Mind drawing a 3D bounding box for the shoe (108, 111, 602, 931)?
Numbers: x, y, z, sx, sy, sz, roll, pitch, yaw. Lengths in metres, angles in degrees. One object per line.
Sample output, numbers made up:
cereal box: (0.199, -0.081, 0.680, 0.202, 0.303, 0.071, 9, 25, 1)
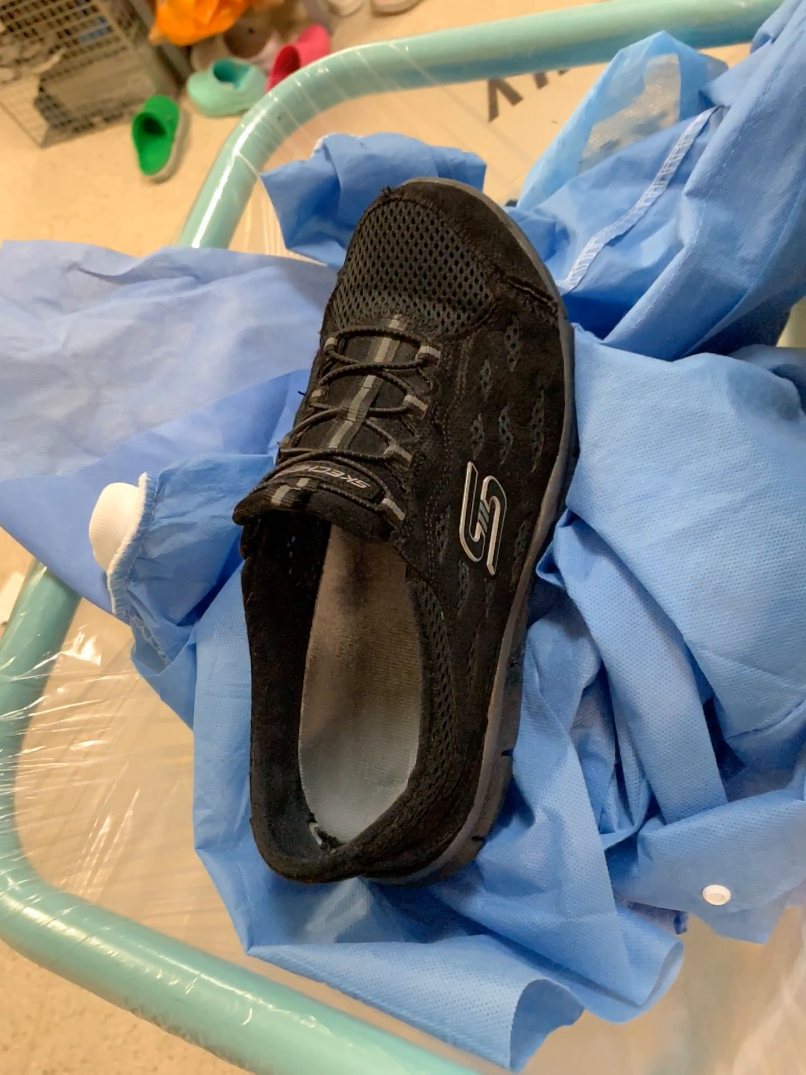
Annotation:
shoe: (0.000, -0.010, 0.298, 0.088, 0.094, 0.254, 4, 71, 26)
